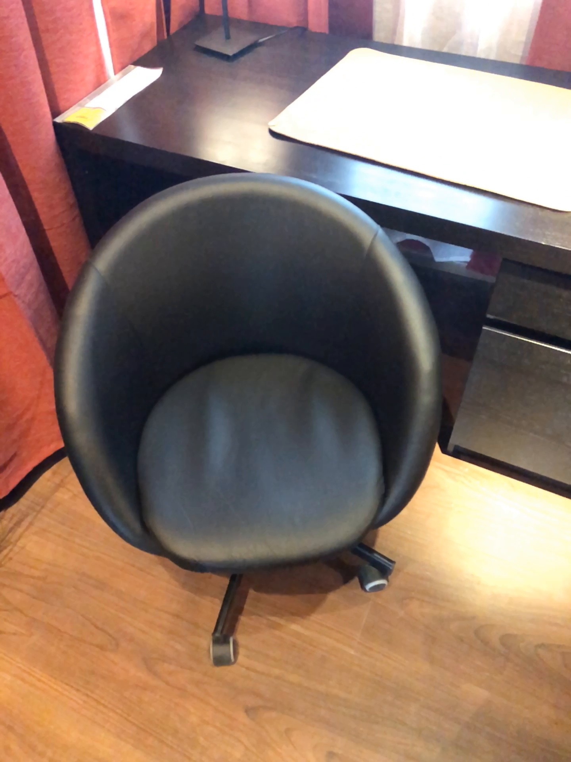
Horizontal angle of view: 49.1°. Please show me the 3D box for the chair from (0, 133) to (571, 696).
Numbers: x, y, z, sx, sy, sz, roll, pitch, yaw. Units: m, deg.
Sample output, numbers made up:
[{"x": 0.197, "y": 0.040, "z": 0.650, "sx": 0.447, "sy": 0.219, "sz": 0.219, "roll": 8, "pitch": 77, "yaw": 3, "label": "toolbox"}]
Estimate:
[{"x": -0.040, "y": 0.082, "z": 1.075, "sx": 0.630, "sy": 0.696, "sz": 0.573, "roll": -9, "pitch": 50, "yaw": -5, "label": "chair"}]
